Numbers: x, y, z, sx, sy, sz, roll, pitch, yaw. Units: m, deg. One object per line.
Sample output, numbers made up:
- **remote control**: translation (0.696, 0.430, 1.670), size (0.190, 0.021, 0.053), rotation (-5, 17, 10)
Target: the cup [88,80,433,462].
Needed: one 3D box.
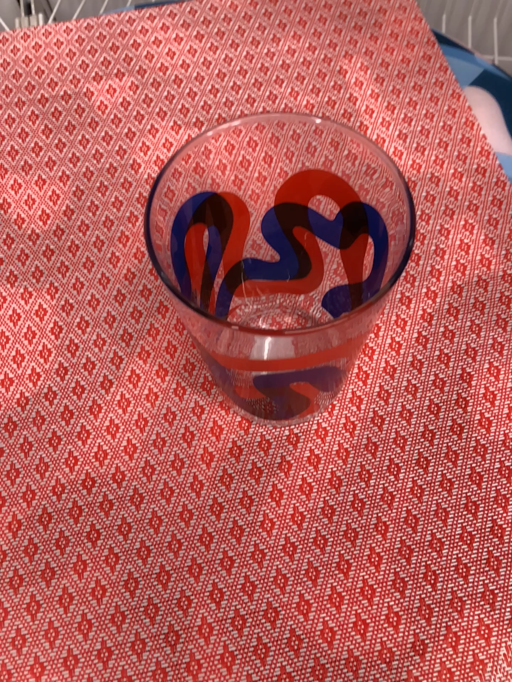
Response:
- **cup**: translation (0.008, -0.016, 0.223), size (0.090, 0.120, 0.090), rotation (-1, 66, 2)
